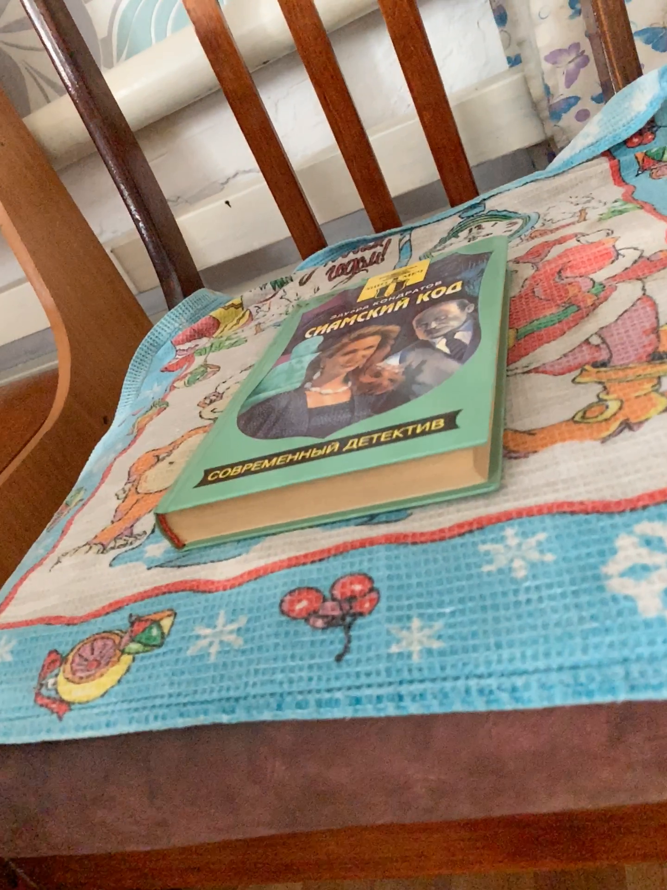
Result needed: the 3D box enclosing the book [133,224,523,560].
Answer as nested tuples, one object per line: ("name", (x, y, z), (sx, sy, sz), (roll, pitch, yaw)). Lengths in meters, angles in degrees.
("book", (0.013, -0.035, 0.317), (0.140, 0.023, 0.201), (-14, 30, 24))
